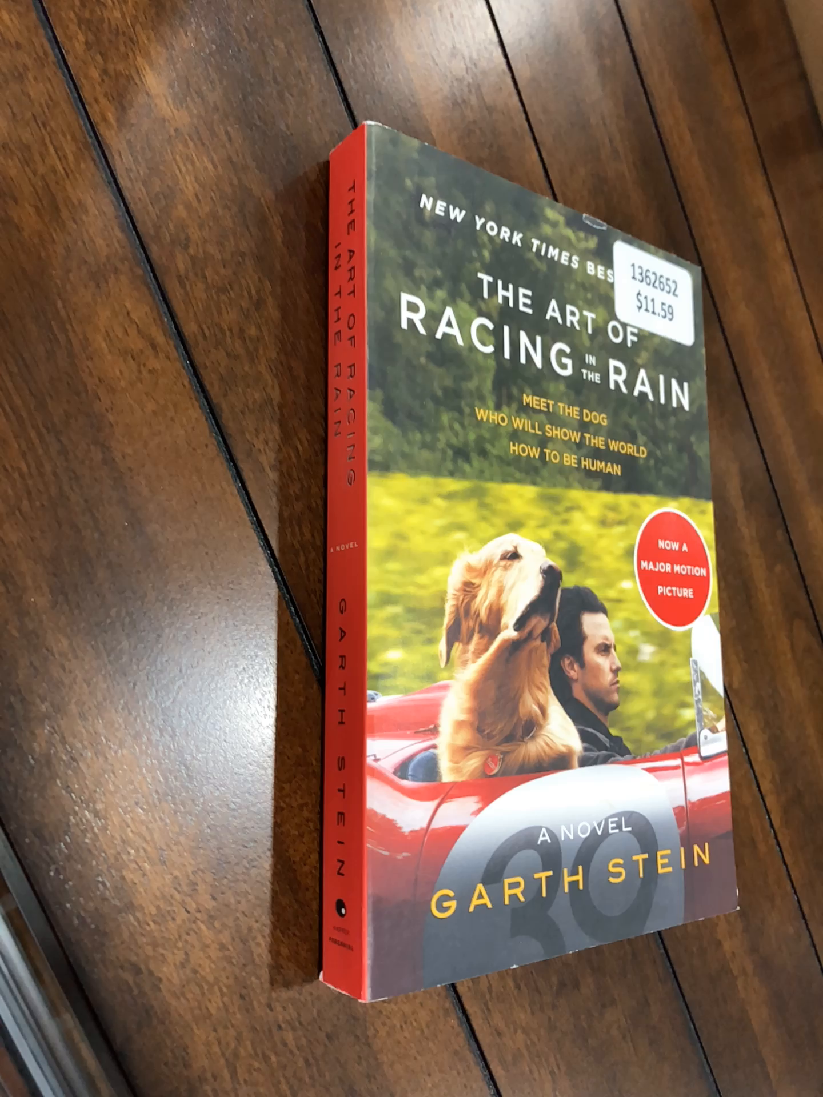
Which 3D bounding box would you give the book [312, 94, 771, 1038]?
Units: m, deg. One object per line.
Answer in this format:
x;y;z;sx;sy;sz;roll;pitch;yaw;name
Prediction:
0.040;0.003;0.256;0.141;0.027;0.210;6;78;-37;book
